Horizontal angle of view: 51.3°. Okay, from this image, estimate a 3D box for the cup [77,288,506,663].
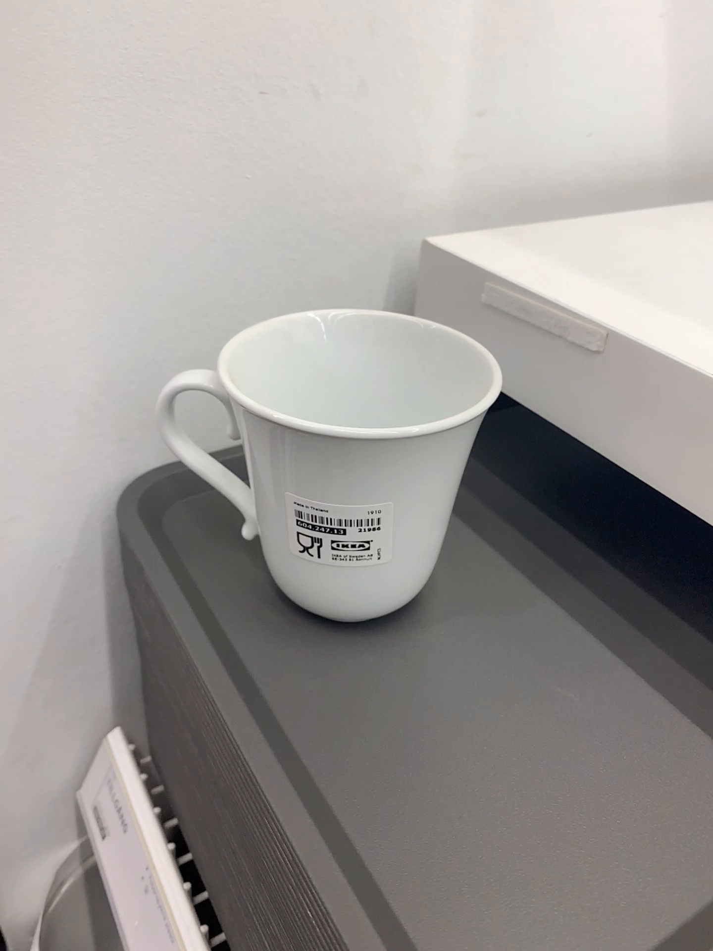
[{"bbox_3d":[-0.020,-0.004,0.293,0.130,0.100,0.100,5,32,1],"label":"cup"}]
